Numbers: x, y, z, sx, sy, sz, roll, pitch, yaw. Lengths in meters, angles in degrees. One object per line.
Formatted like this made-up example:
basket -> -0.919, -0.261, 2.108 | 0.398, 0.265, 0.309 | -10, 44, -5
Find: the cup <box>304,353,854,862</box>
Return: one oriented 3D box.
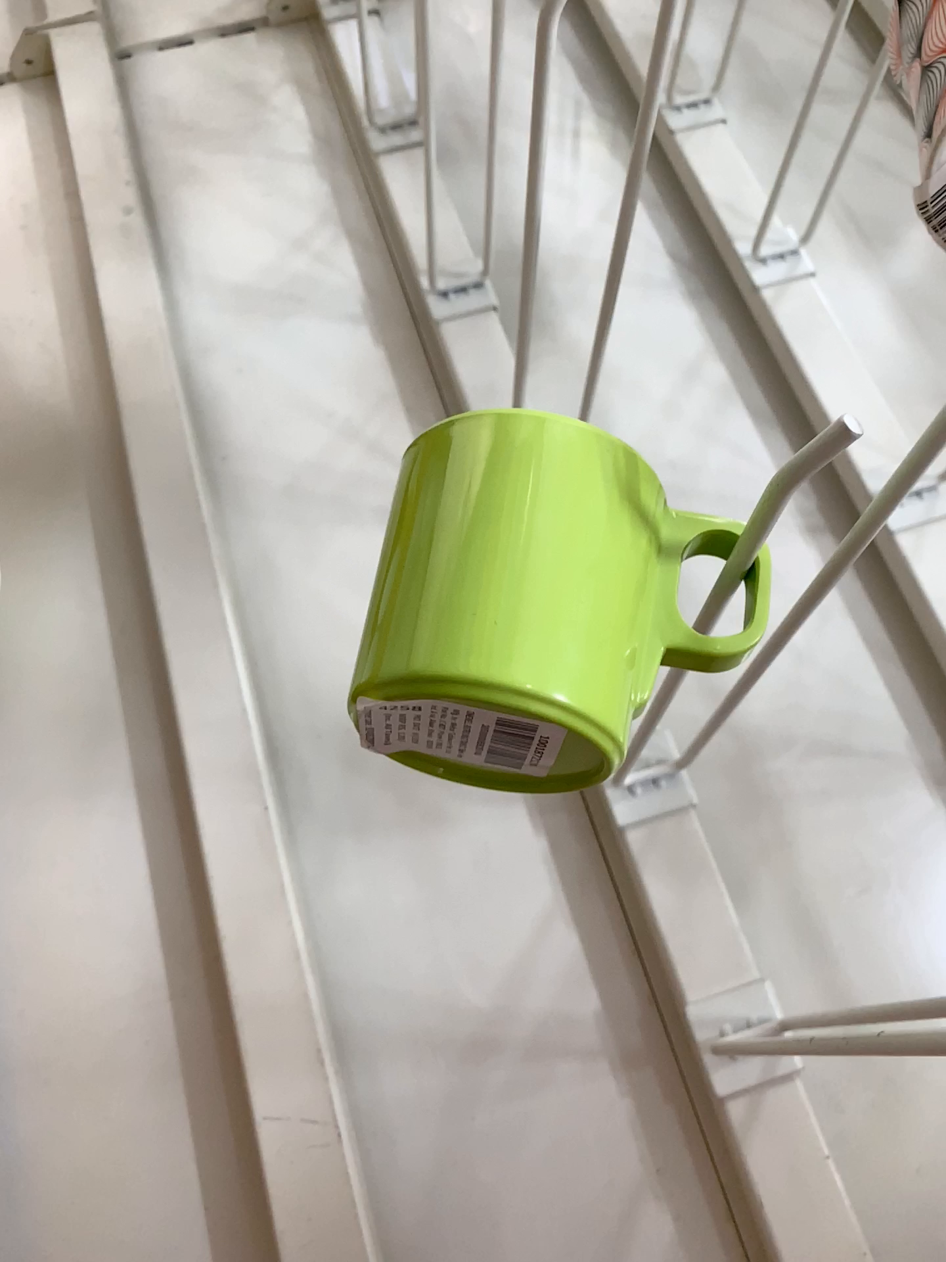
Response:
cup -> 0.024, 0.001, 0.259 | 0.100, 0.110, 0.080 | 100, 1, -66
